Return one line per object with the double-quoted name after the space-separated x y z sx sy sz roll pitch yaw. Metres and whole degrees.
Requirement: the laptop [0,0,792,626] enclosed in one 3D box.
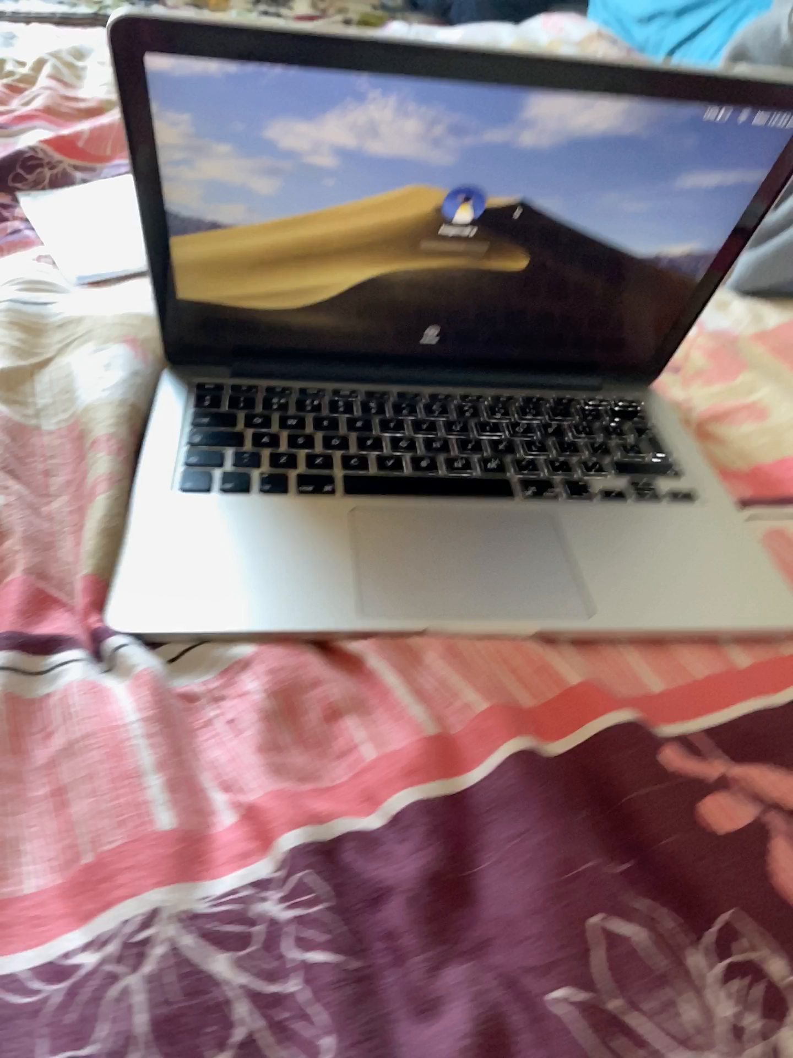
0.031 -0.096 0.363 0.303 0.191 0.203 1 42 -6 "laptop"
